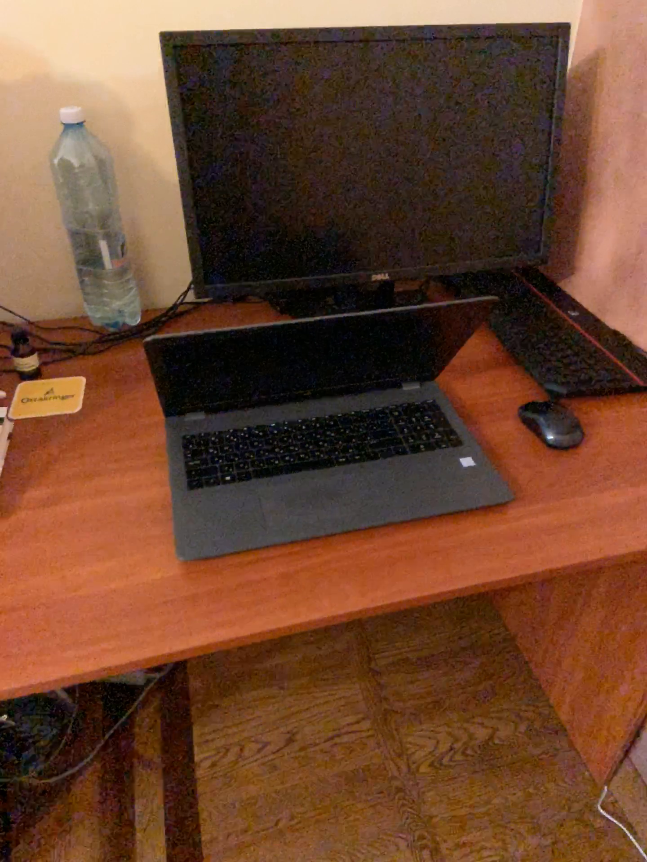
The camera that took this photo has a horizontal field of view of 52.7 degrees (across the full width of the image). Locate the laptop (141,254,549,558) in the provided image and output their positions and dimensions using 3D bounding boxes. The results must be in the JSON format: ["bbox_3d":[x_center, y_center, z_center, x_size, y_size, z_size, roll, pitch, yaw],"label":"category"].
[{"bbox_3d":[0.003,-0.046,0.755,0.385,0.193,0.246,-8,38,-10],"label":"laptop"}]
